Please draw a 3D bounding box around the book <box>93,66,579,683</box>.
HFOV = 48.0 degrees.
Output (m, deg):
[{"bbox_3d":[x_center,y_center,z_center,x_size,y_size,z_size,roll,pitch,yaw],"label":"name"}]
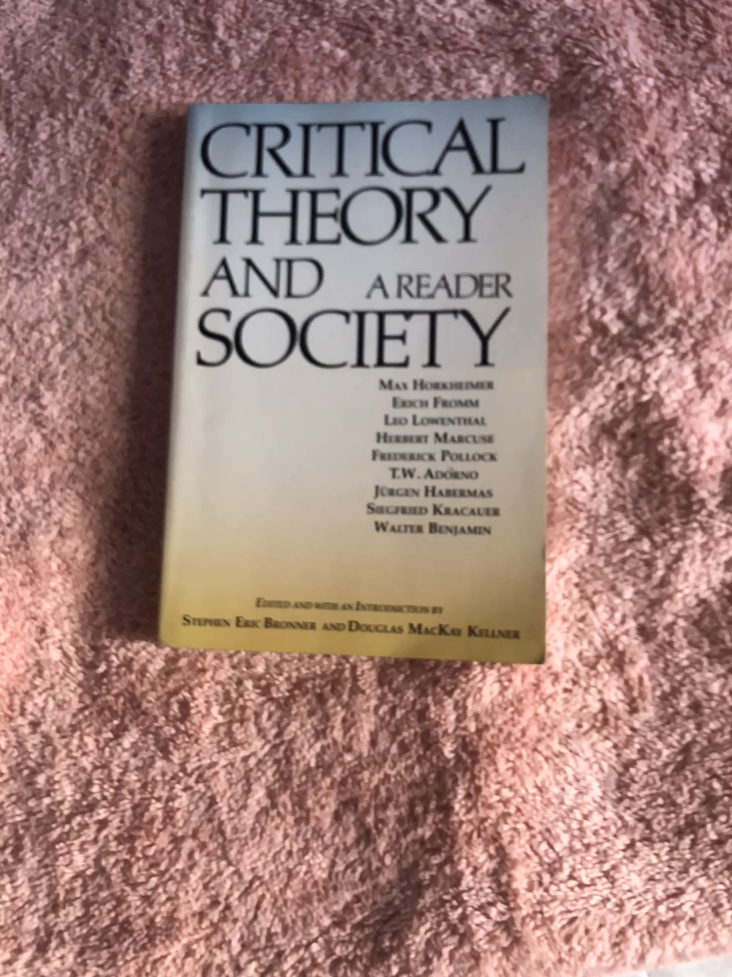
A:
[{"bbox_3d":[-0.007,-0.047,0.330,0.170,0.050,0.230,2,82,4],"label":"book"}]
